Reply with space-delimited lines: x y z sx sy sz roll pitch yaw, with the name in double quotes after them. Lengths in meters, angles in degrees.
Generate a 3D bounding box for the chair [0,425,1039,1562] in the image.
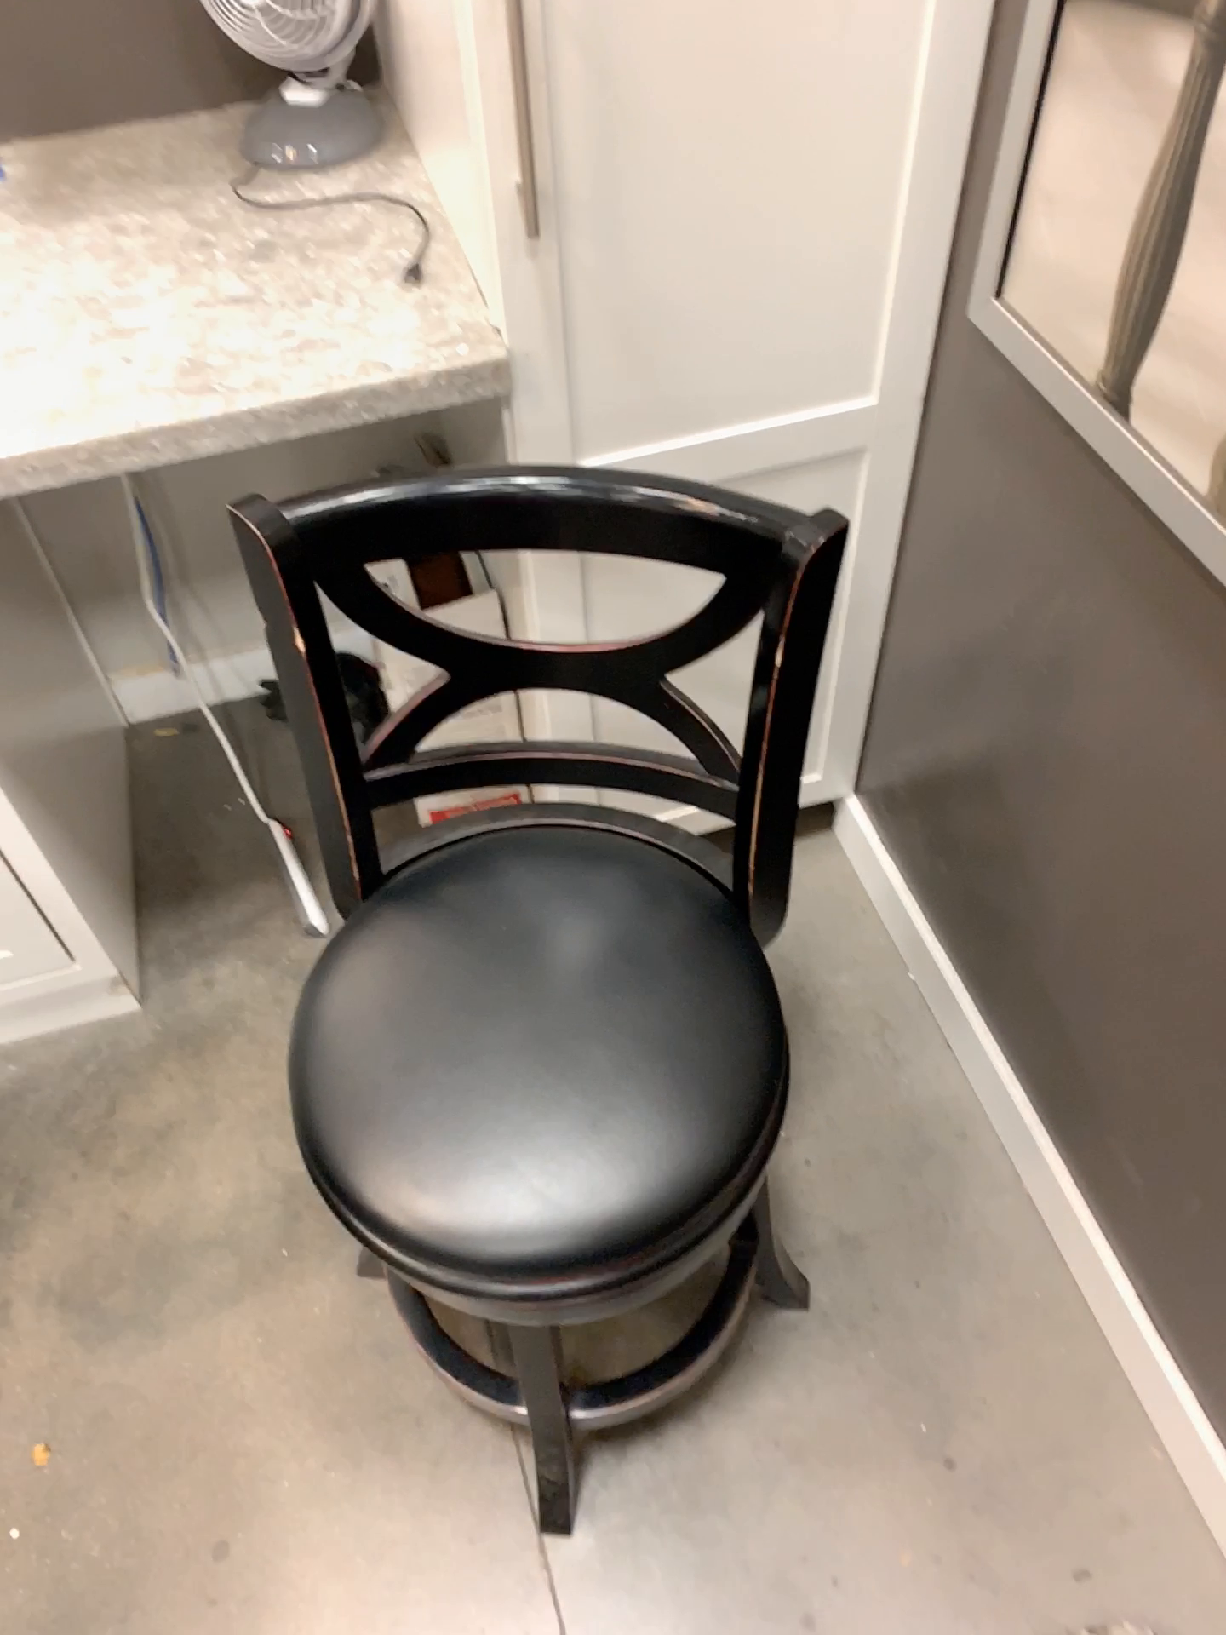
-0.054 0.223 1.116 0.557 0.913 0.607 1 51 4 "chair"
